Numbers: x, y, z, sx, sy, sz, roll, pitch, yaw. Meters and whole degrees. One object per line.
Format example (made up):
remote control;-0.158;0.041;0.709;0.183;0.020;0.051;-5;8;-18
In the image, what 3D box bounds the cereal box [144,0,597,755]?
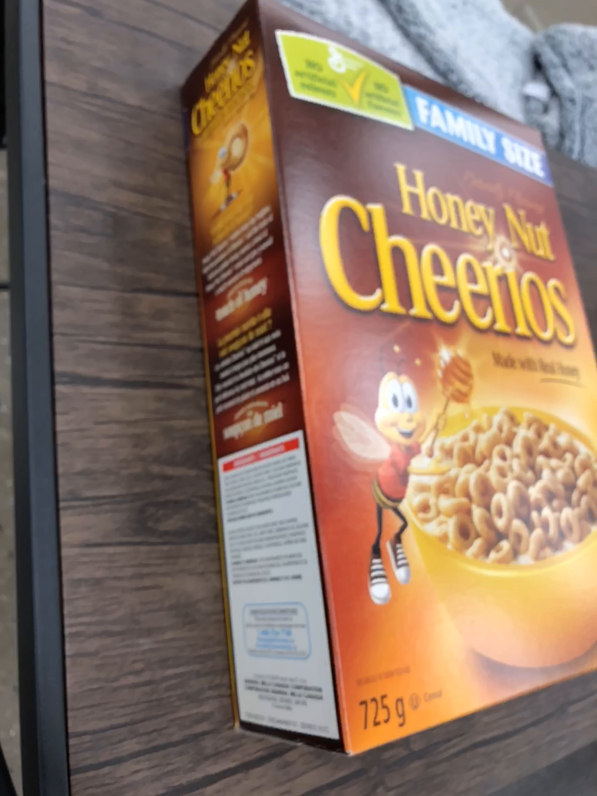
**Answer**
cereal box;0.058;-0.041;0.388;0.251;0.080;0.380;3;73;-36
